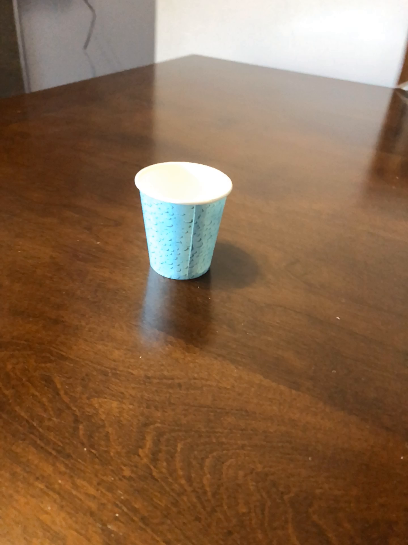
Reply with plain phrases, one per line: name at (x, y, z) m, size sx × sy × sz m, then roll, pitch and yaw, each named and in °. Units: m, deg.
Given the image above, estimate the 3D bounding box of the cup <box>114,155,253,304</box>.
cup at (-0.012, -0.030, 0.286) m, size 0.060 × 0.060 × 0.060 m, roll 3°, pitch 34°, yaw -2°
